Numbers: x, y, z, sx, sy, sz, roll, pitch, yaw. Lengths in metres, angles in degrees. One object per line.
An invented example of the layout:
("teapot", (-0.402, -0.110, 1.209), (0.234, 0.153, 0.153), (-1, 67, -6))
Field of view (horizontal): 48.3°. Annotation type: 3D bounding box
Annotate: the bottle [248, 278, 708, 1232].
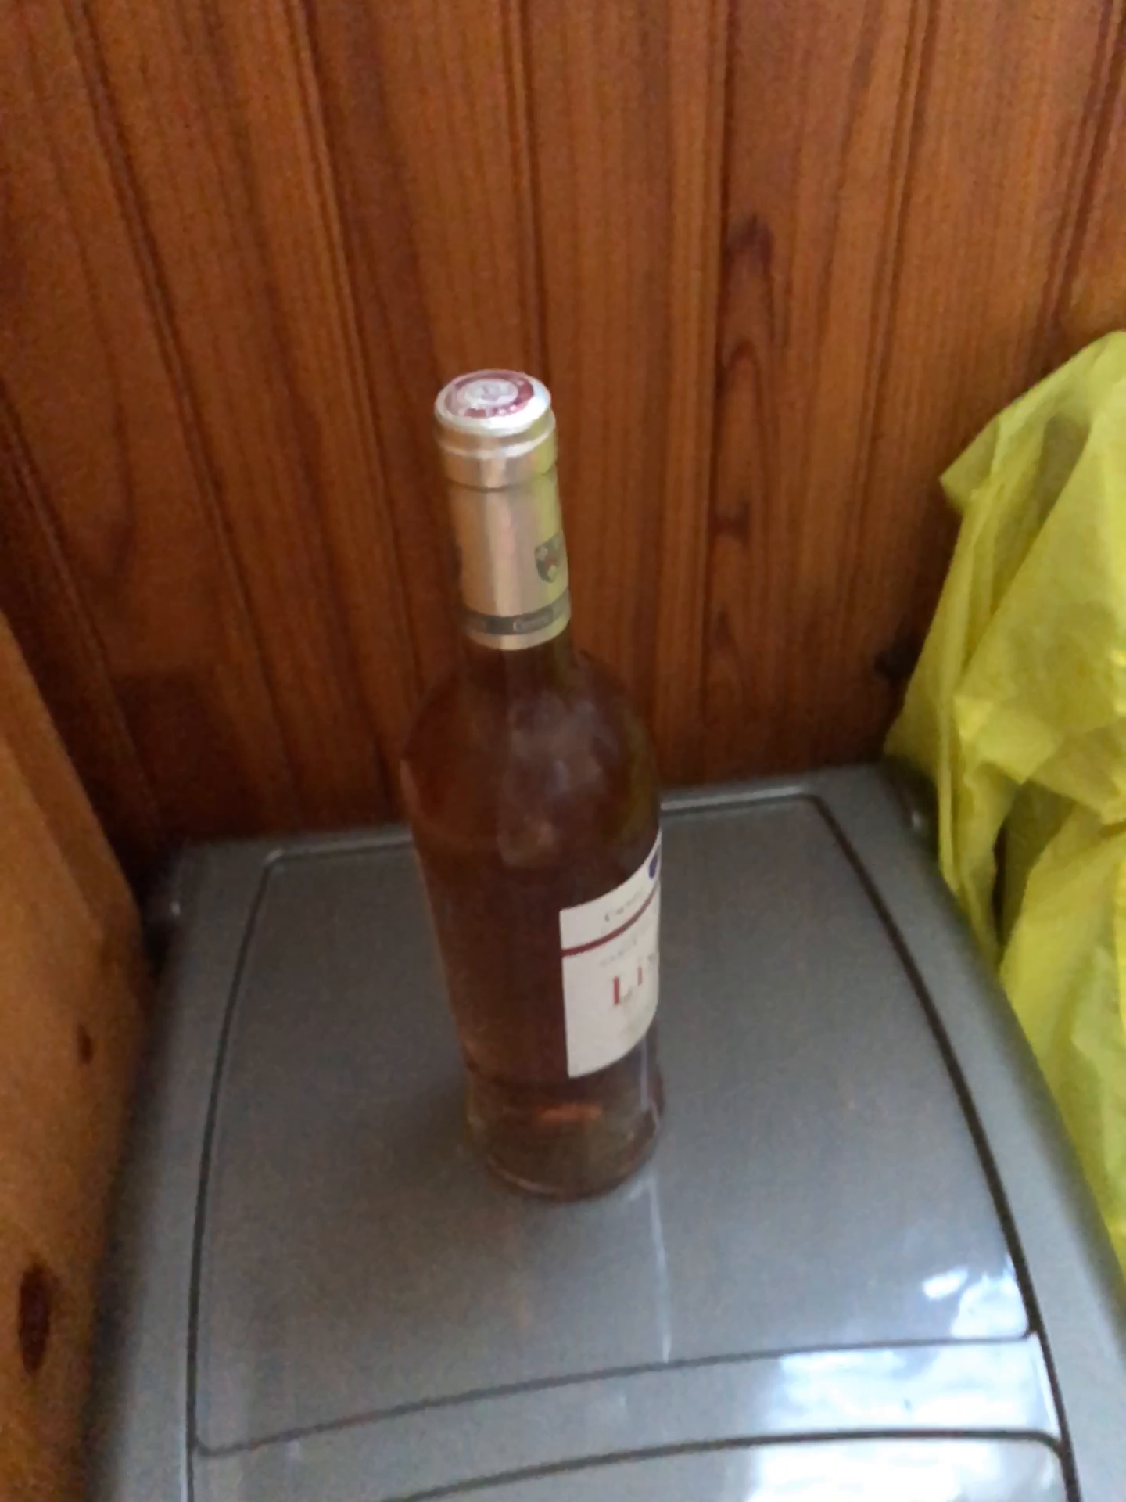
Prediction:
("bottle", (-0.008, 0.028, 0.394), (0.080, 0.318, 0.081), (-2, 43, 2))
